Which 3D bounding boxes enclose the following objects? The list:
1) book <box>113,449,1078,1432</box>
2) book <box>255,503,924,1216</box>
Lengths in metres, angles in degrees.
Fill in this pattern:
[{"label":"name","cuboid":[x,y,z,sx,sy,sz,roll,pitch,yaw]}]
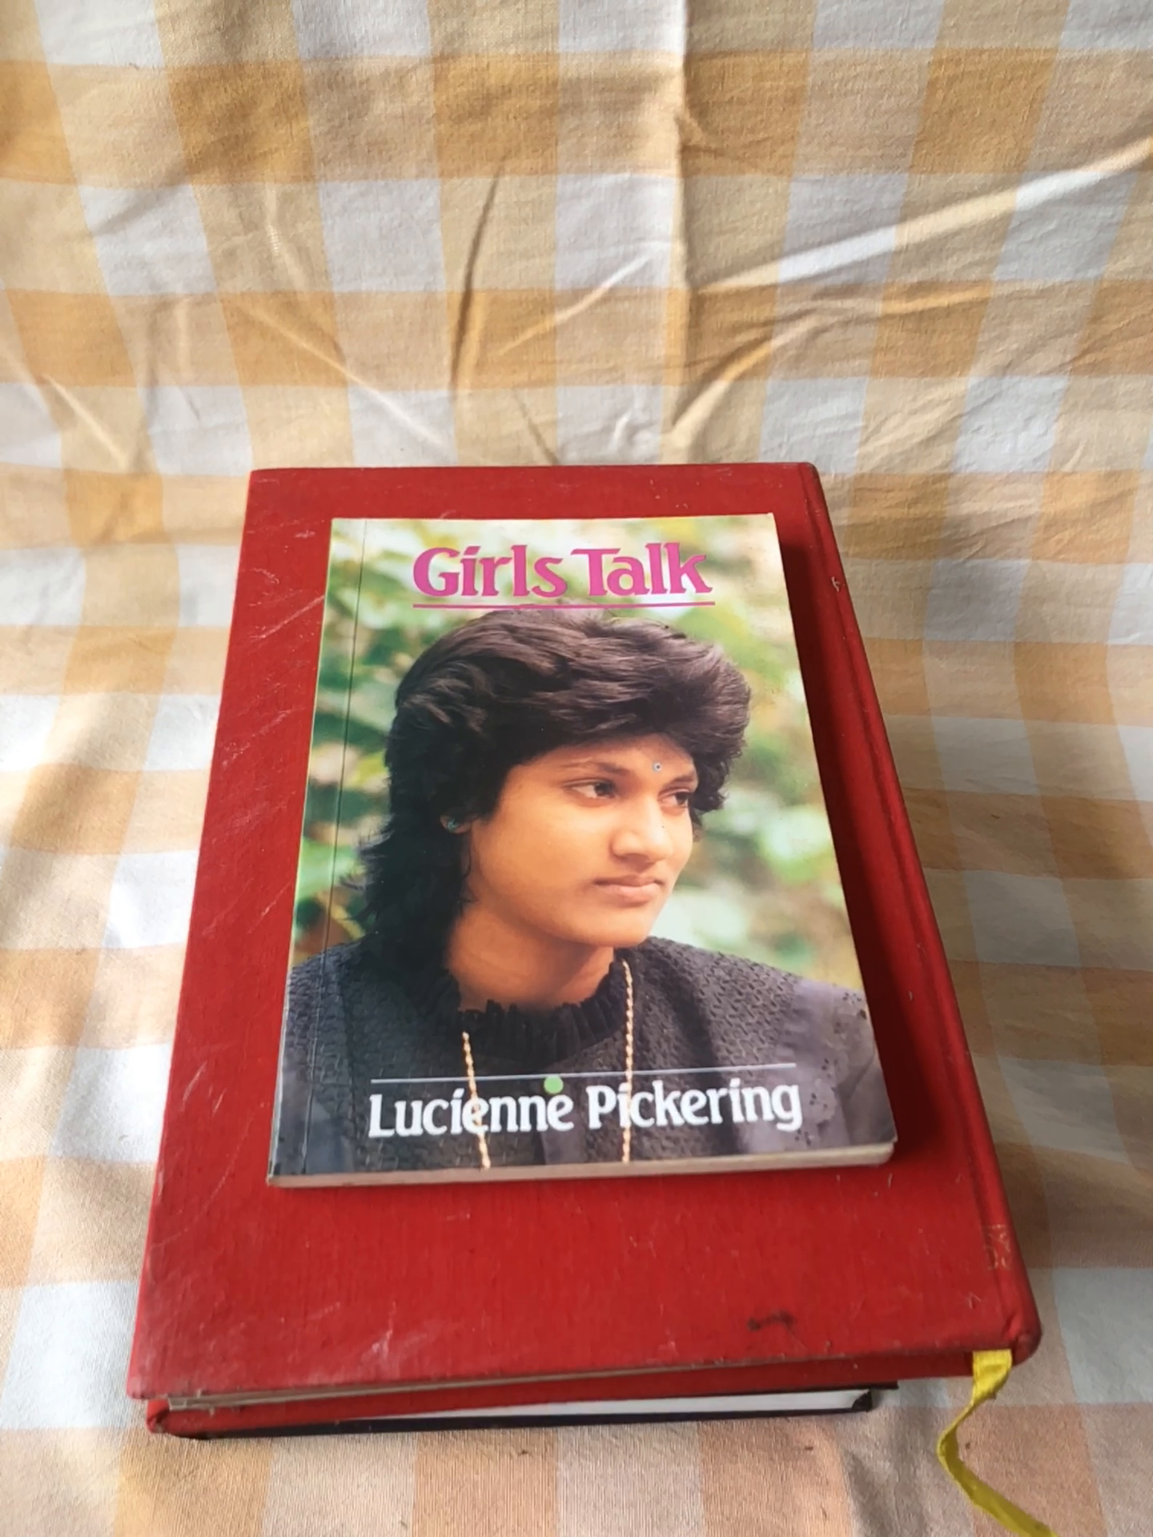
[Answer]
[{"label":"book","cuboid":[-0.003,0.017,0.316,0.174,0.031,0.249,-2,53,-4]},{"label":"book","cuboid":[-0.002,0.009,0.311,0.130,0.025,0.182,-1,55,-3]}]
